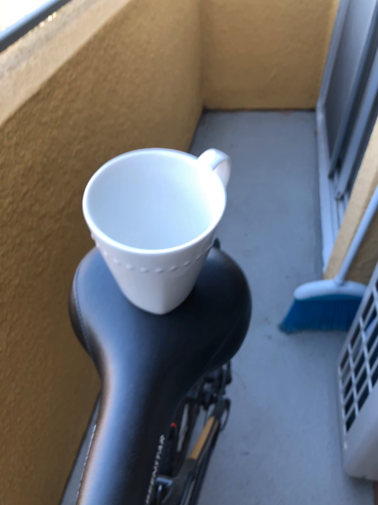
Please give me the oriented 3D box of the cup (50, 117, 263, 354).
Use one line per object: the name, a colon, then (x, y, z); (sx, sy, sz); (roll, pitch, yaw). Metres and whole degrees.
cup: (-0.016, -0.019, 0.324); (0.090, 0.100, 0.130); (20, 48, 19)
